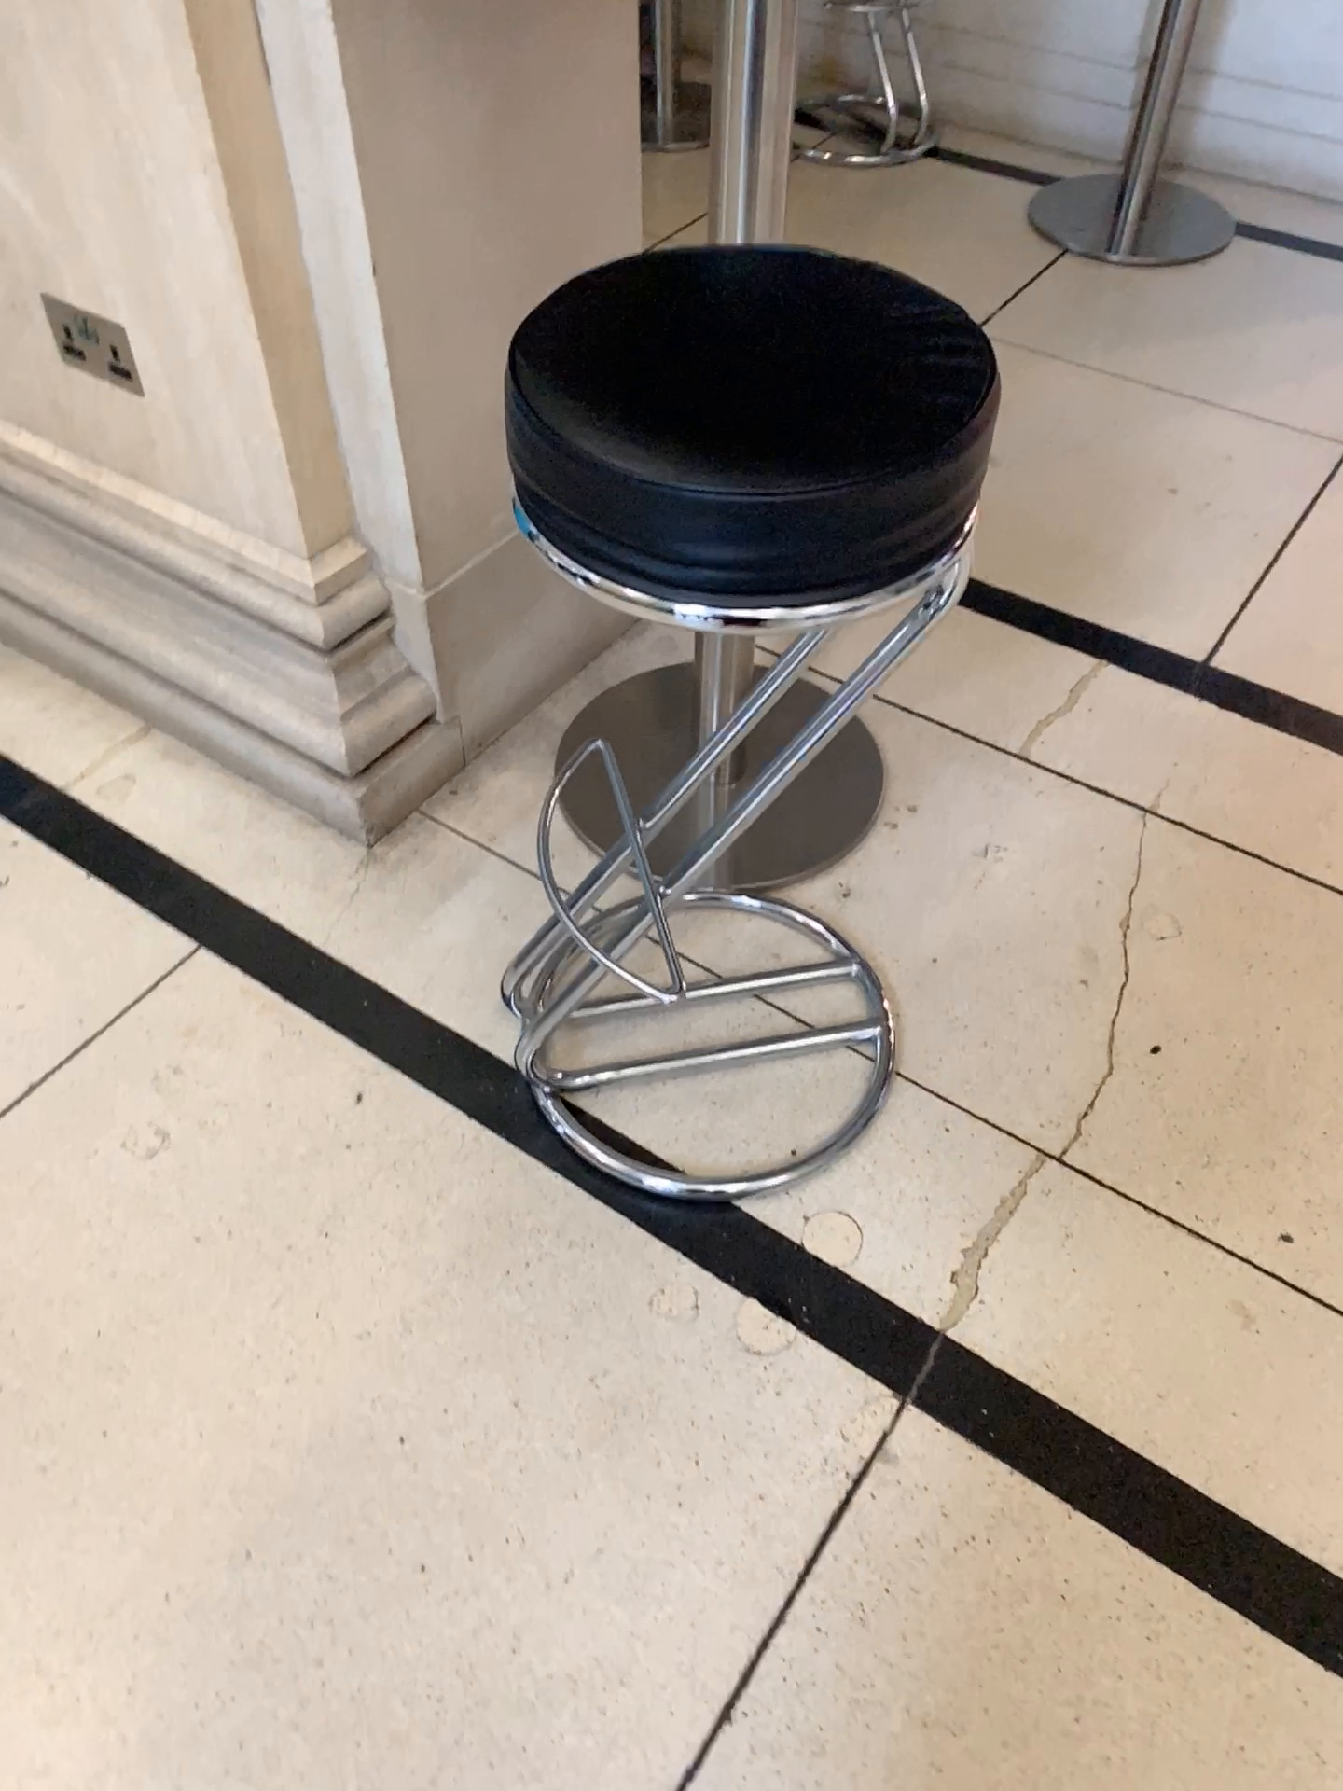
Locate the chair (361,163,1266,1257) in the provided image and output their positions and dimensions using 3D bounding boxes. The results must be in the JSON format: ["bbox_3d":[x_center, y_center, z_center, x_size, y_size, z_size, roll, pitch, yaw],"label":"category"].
[{"bbox_3d":[0.065,-0.124,1.250,0.503,0.813,0.468,-12,50,-10],"label":"chair"}]
